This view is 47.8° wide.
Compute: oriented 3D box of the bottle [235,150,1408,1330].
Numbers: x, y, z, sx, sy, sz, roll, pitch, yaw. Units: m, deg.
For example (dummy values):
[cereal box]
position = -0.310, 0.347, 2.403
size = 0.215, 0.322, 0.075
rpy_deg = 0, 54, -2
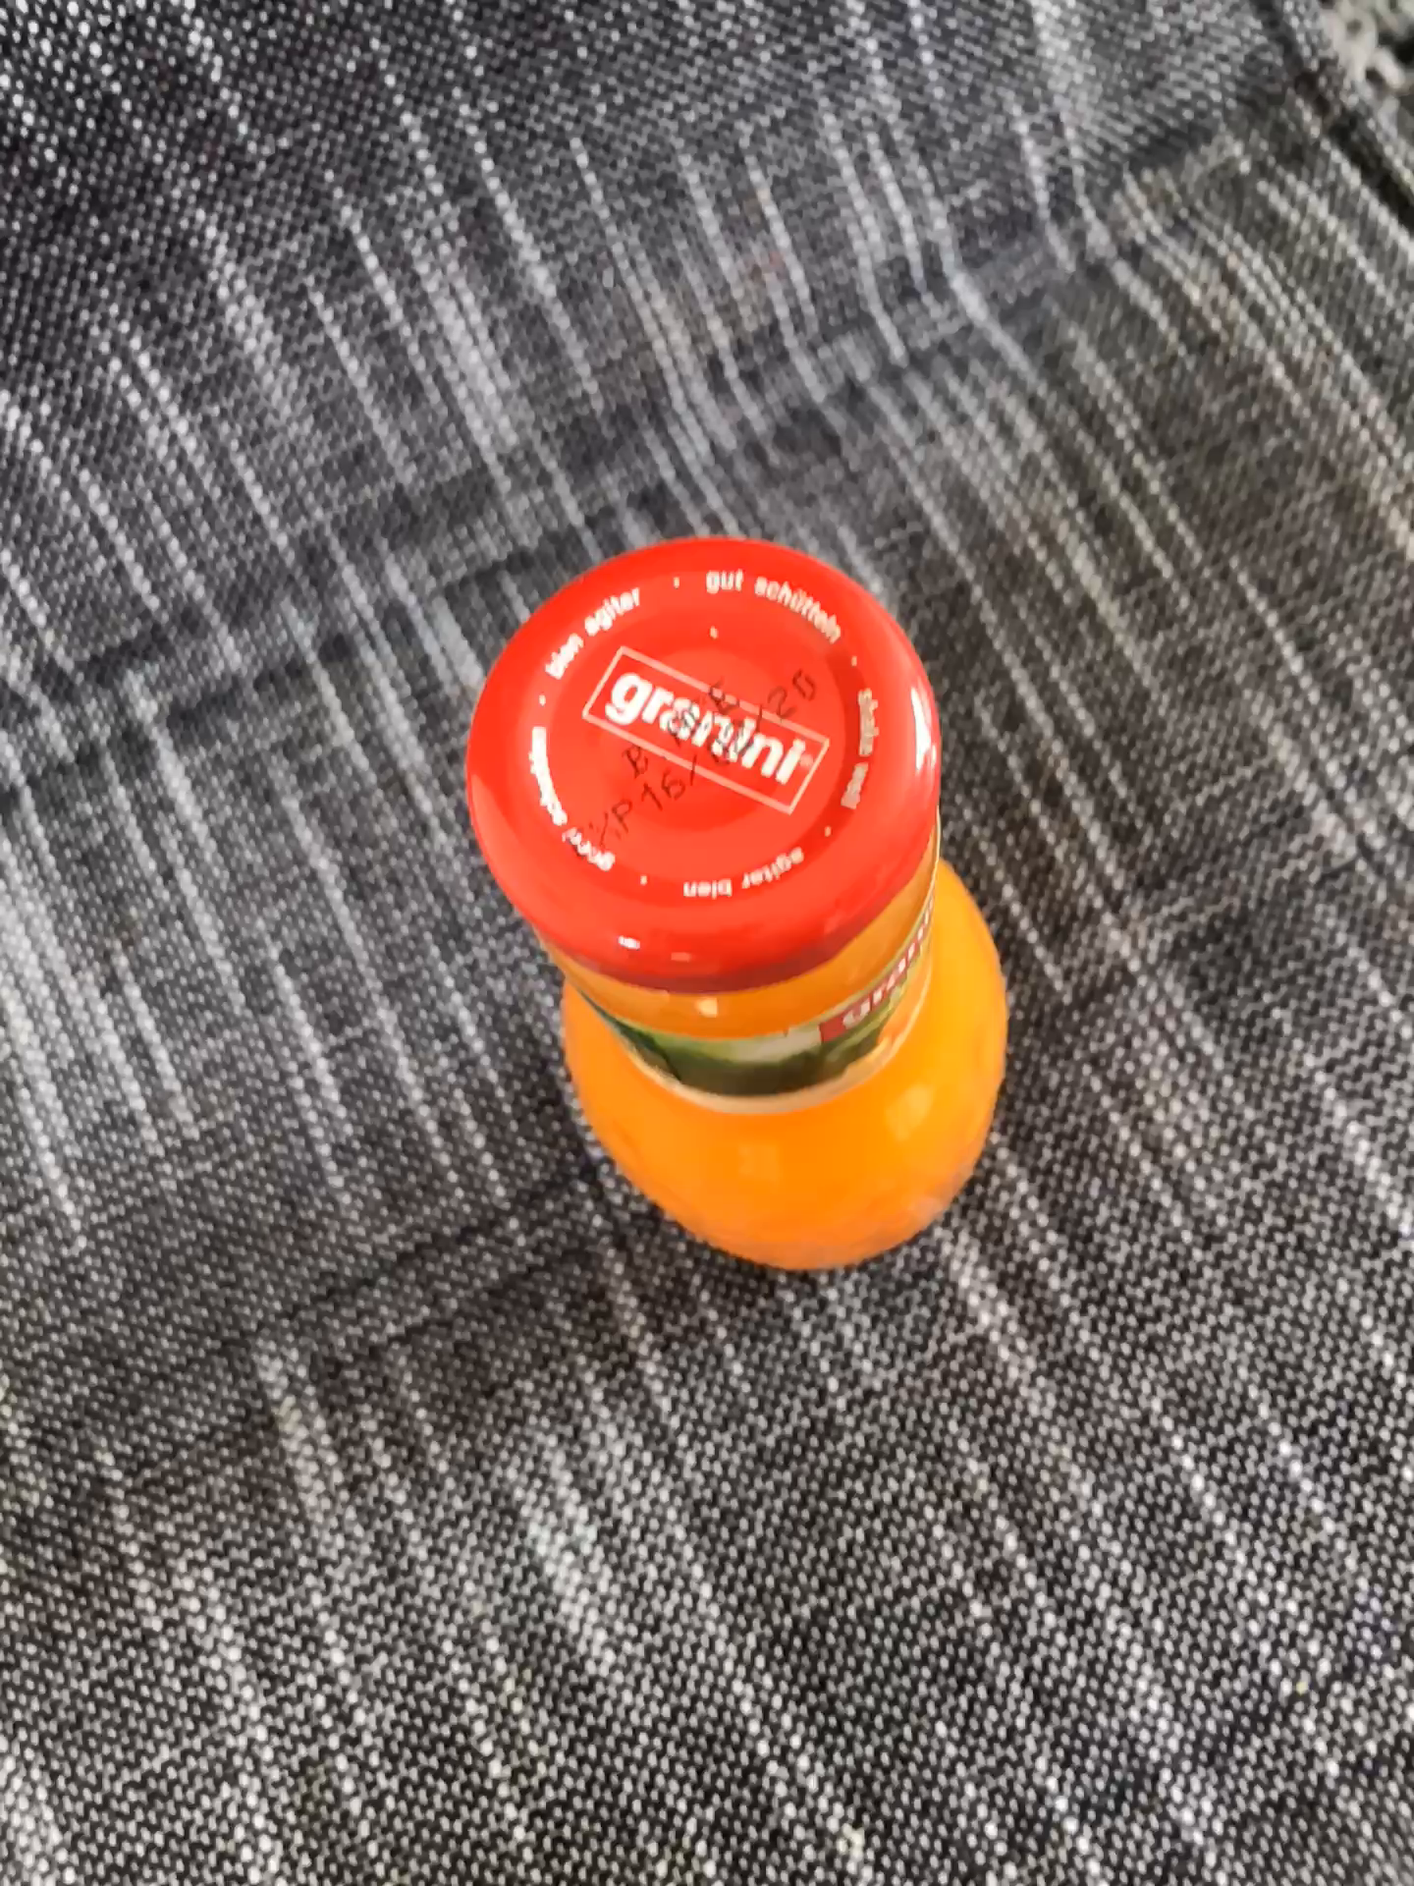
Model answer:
[bottle]
position = 0.014, -0.003, 0.193
size = 0.060, 0.150, 0.070
rpy_deg = 34, 80, 12
